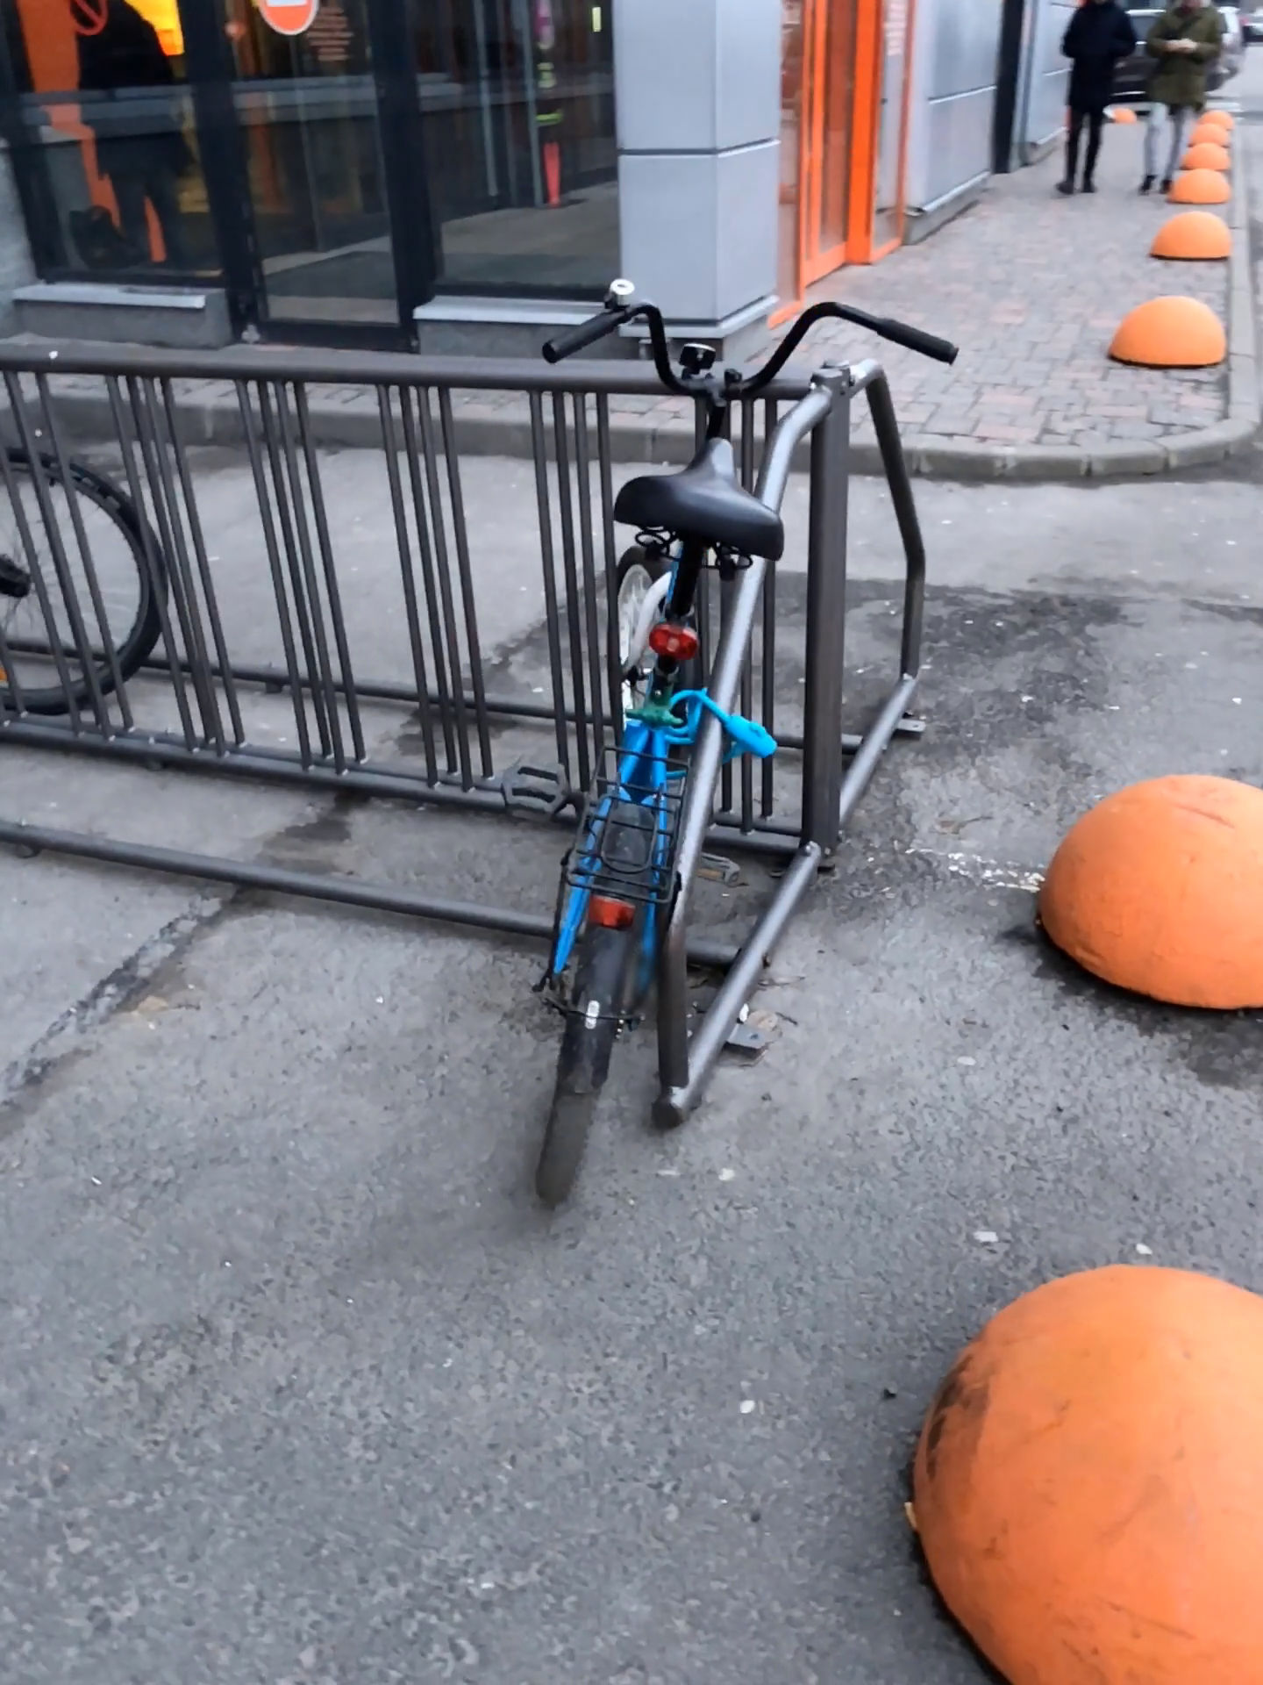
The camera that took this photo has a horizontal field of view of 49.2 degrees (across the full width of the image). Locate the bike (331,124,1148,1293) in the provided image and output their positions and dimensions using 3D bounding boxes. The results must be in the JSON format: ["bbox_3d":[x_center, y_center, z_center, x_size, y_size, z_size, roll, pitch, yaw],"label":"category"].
[{"bbox_3d":[0.152,-0.326,2.024,0.723,0.991,1.429,0,35,4],"label":"bike"}]
